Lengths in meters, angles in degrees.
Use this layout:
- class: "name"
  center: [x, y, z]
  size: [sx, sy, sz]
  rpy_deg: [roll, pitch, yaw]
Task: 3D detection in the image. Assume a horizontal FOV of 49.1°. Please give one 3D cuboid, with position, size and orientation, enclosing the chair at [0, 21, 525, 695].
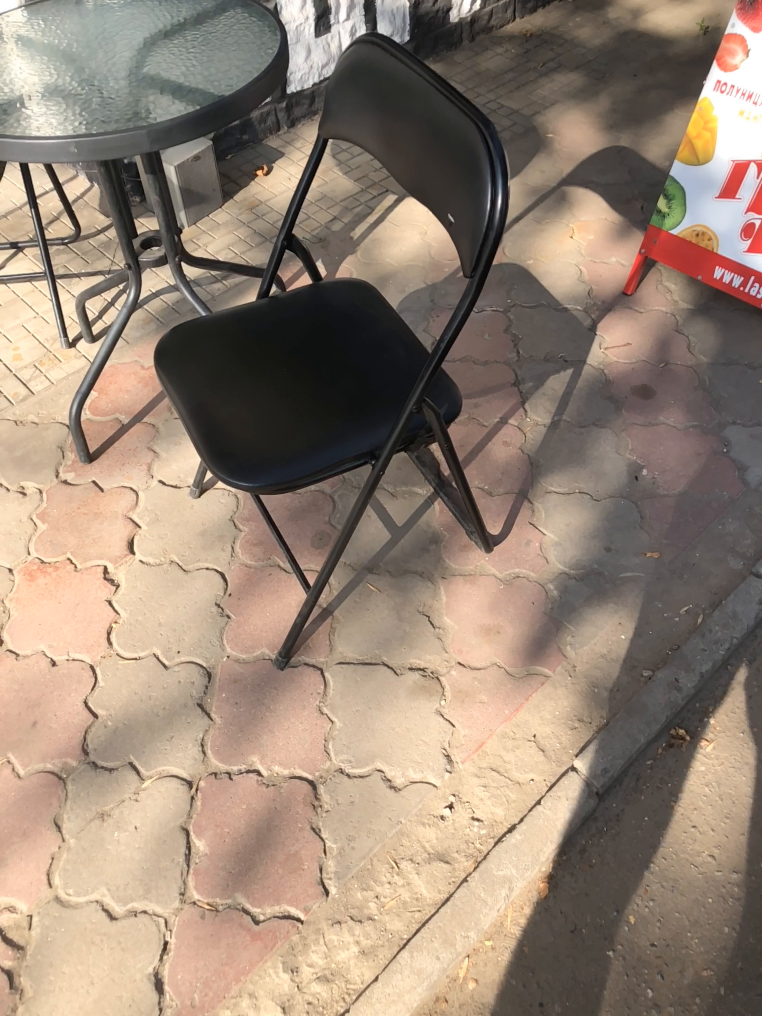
- class: "chair"
  center: [-0.176, -0.249, 1.441]
  size: [0.571, 0.837, 0.582]
  rpy_deg: [-23, 48, -17]
